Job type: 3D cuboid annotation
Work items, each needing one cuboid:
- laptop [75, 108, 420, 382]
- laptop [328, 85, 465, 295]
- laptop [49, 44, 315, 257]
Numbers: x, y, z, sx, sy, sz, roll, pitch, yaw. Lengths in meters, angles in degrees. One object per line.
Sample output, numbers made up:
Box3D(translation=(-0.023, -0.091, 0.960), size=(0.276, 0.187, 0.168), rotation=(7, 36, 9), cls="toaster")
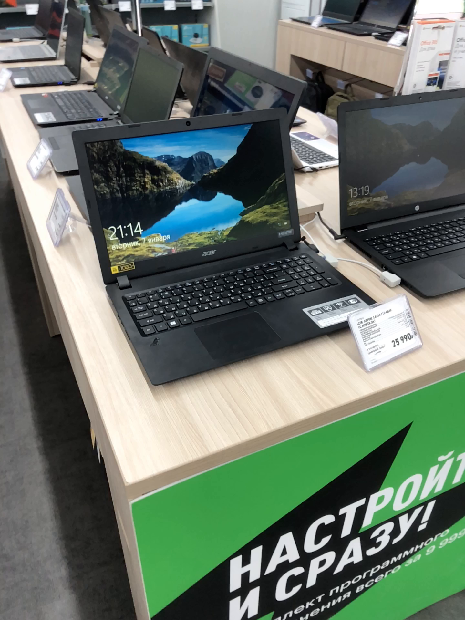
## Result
Box3D(translation=(-0.001, -0.135, 0.790), size=(0.374, 0.219, 0.349), rotation=(-15, 39, -21), cls="laptop")
Box3D(translation=(0.431, -0.240, 0.939), size=(0.359, 0.220, 0.296), rotation=(-15, 40, -20), cls="laptop")
Box3D(translation=(-0.122, -0.362, 1.068), size=(0.396, 0.250, 0.403), rotation=(-17, 39, -20), cls="laptop")
